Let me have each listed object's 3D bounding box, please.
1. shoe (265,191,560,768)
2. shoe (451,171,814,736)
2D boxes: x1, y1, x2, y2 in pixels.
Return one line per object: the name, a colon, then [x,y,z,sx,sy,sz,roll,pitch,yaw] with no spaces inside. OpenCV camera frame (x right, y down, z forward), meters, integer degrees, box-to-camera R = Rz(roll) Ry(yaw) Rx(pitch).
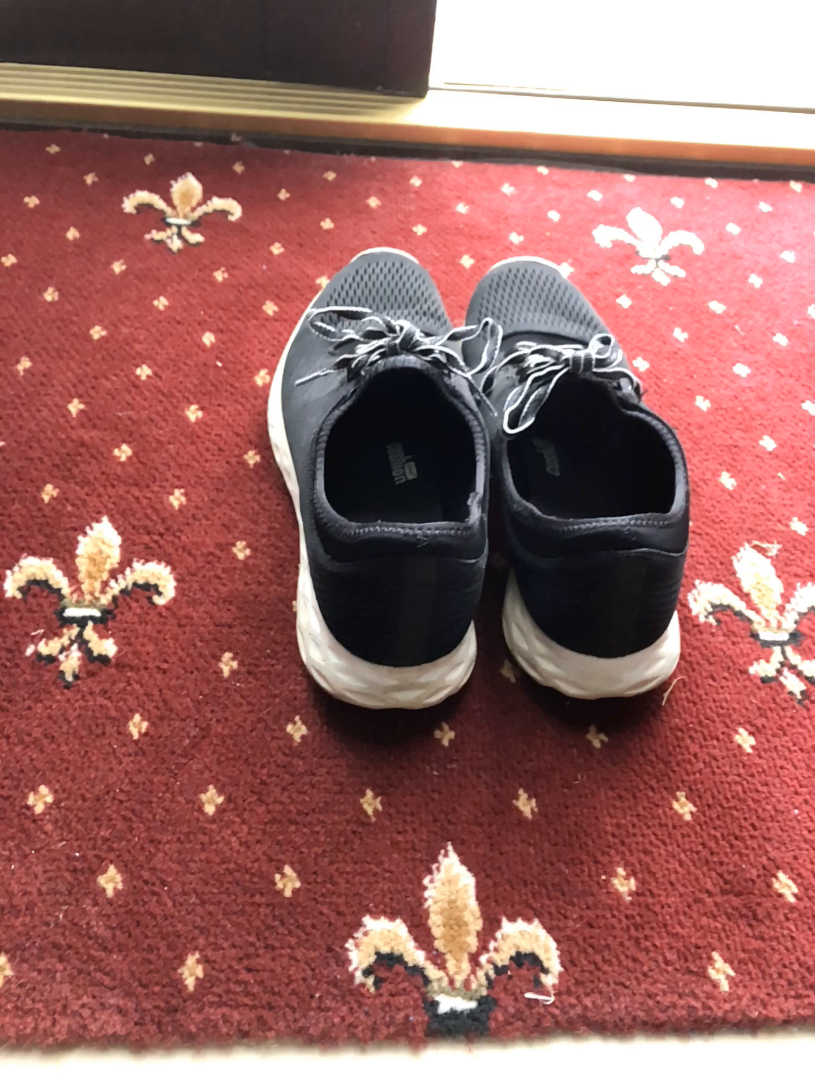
shoe: [-0.011,-0.044,0.433,0.100,0.109,0.272,0,51,-6]
shoe: [0.085,-0.056,0.438,0.100,0.109,0.272,2,50,-4]
